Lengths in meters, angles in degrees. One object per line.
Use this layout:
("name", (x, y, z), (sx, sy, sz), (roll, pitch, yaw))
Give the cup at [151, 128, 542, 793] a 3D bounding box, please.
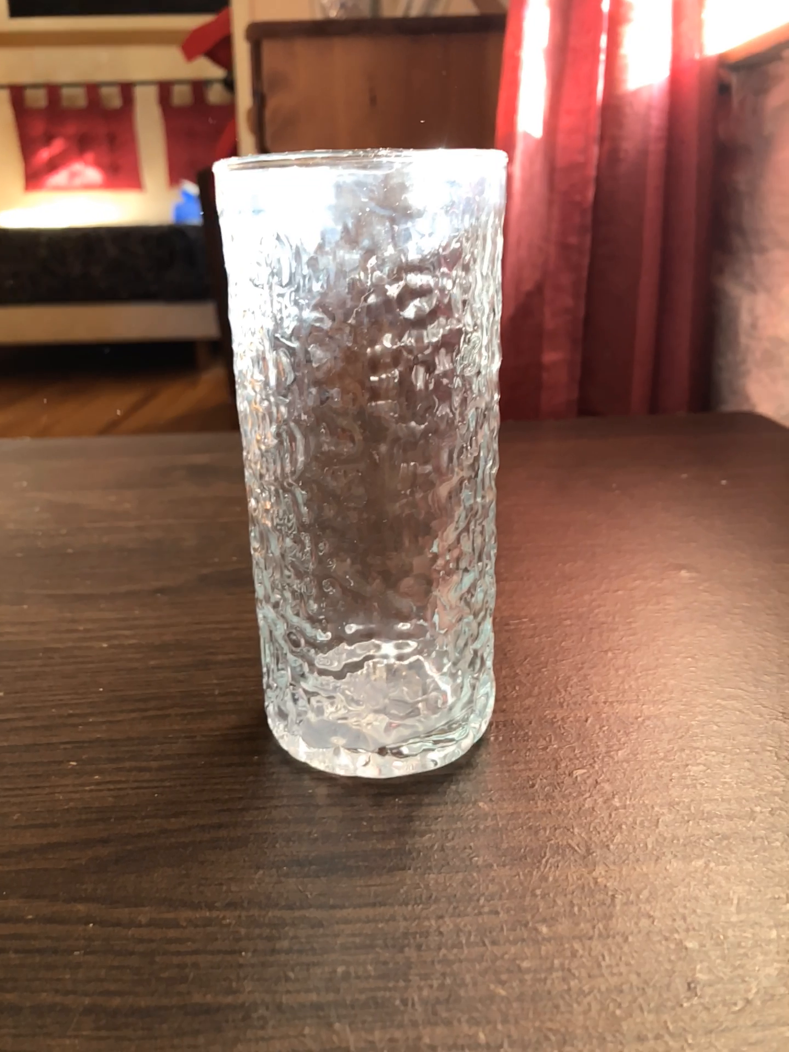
("cup", (-0.005, -0.017, 0.205), (0.068, 0.131, 0.070), (0, 19, 0))
